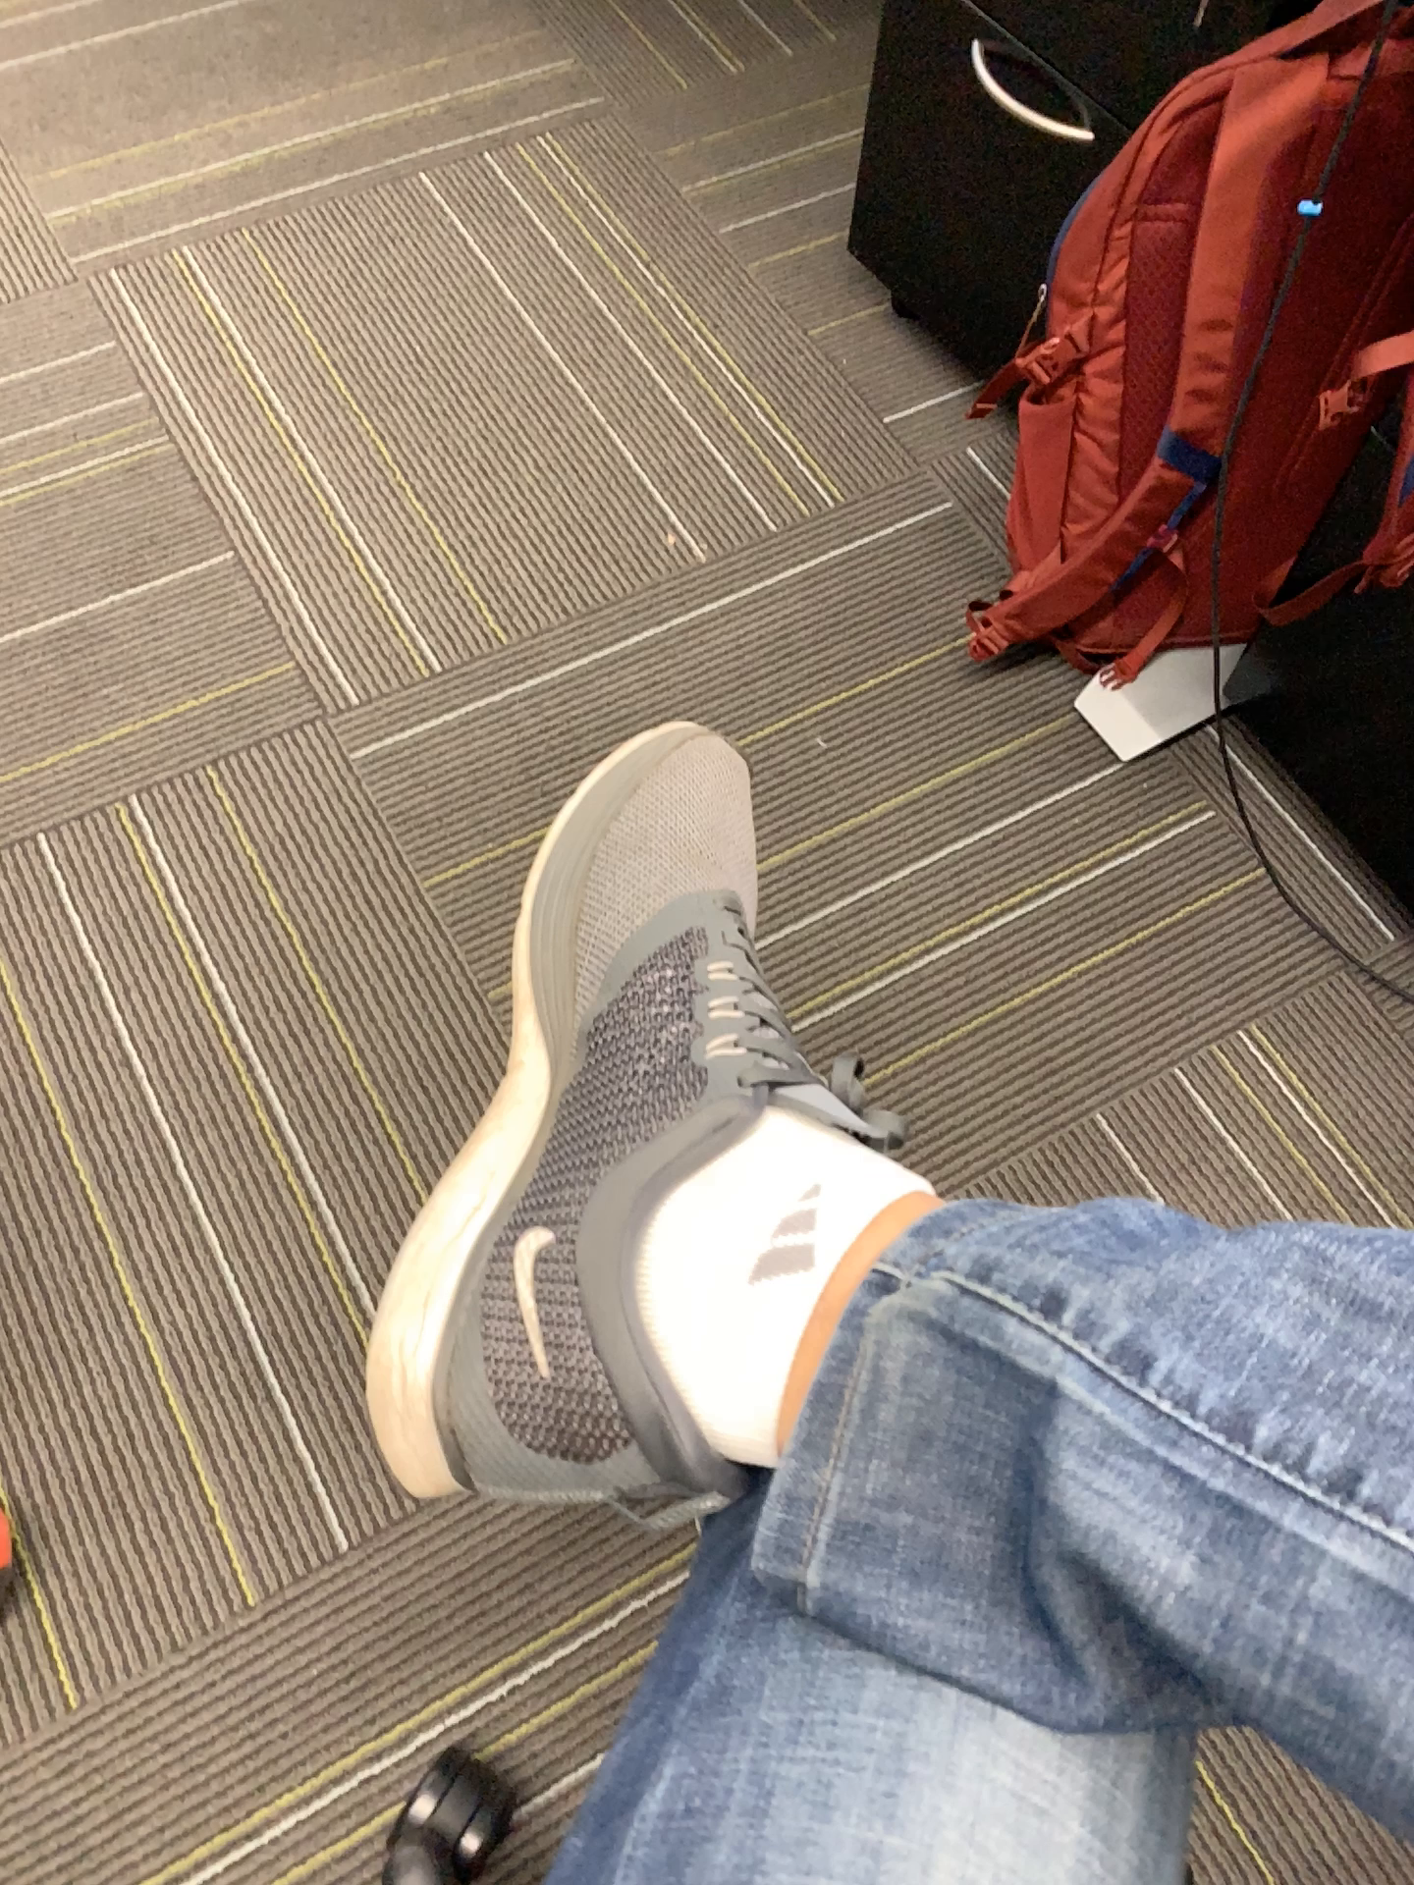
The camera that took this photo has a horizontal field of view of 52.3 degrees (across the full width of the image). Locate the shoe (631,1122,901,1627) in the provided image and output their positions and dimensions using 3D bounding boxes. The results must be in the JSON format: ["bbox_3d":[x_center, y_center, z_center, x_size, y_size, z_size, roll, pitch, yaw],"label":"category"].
[{"bbox_3d":[0.030,0.276,0.943,0.117,0.074,0.293,-8,64,-7],"label":"shoe"}]

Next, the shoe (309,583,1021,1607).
[{"bbox_3d":[0.005,0.043,0.481,0.142,0.115,0.295,-8,53,31],"label":"shoe"}]

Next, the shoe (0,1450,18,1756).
[{"bbox_3d":[-0.589,0.401,0.878,0.276,0.117,0.112,-3,54,-12],"label":"shoe"}]
